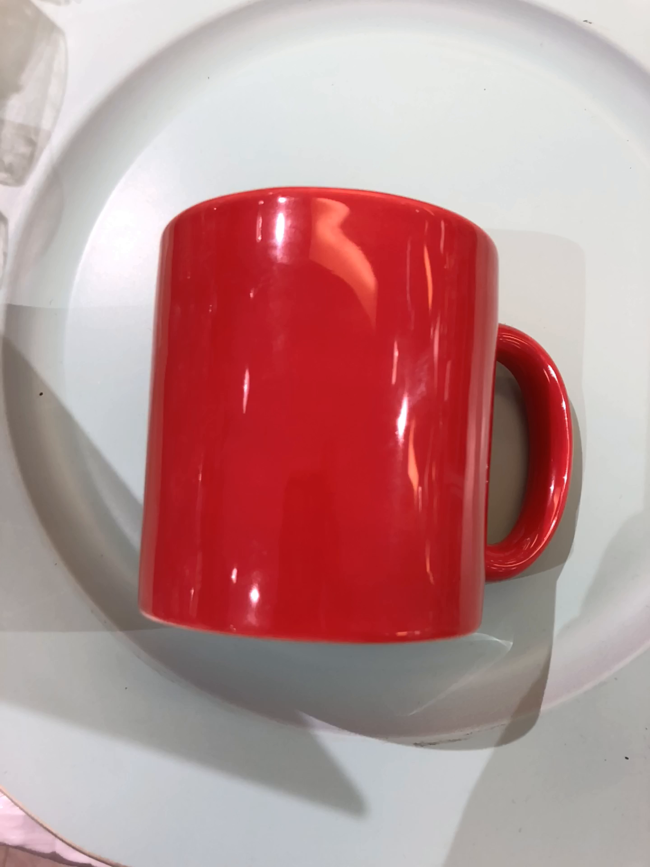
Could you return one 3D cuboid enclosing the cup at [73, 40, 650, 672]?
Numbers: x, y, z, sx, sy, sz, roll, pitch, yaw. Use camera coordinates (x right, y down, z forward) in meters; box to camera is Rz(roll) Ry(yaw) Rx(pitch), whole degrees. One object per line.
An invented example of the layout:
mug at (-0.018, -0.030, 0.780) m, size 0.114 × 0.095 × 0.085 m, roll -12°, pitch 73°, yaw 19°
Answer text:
cup at (0.009, -0.007, 0.164) m, size 0.110 × 0.060 × 0.100 m, roll 5°, pitch 81°, yaw -28°
